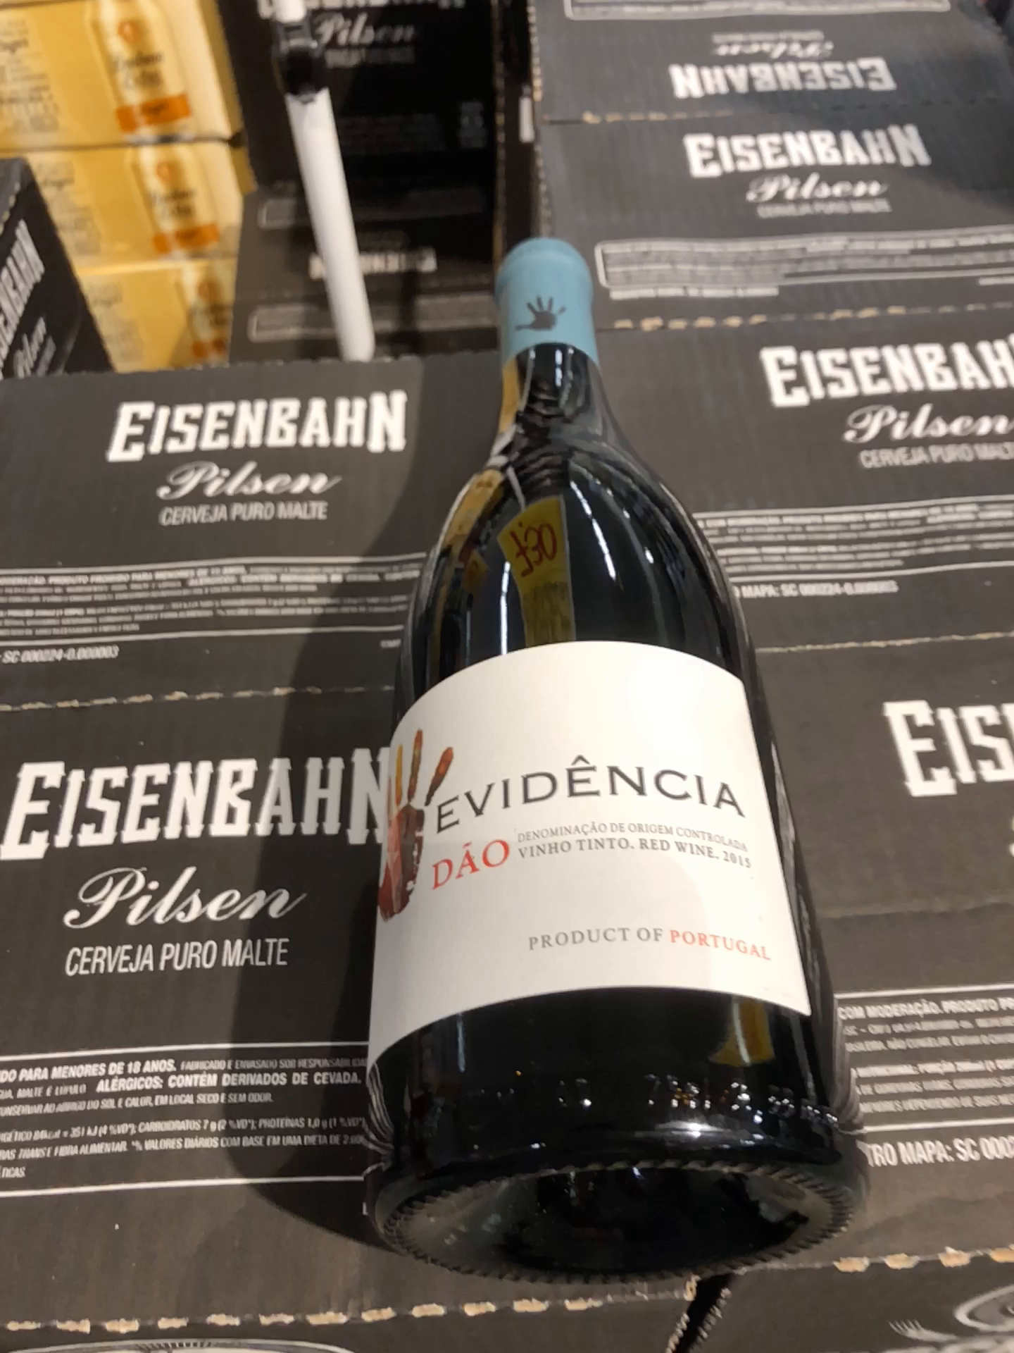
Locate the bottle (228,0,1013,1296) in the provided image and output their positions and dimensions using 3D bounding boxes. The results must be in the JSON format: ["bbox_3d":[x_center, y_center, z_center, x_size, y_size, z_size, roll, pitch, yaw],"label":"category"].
[{"bbox_3d":[0.011,-0.045,0.278,0.100,0.089,0.332,-3,53,1],"label":"bottle"}]
